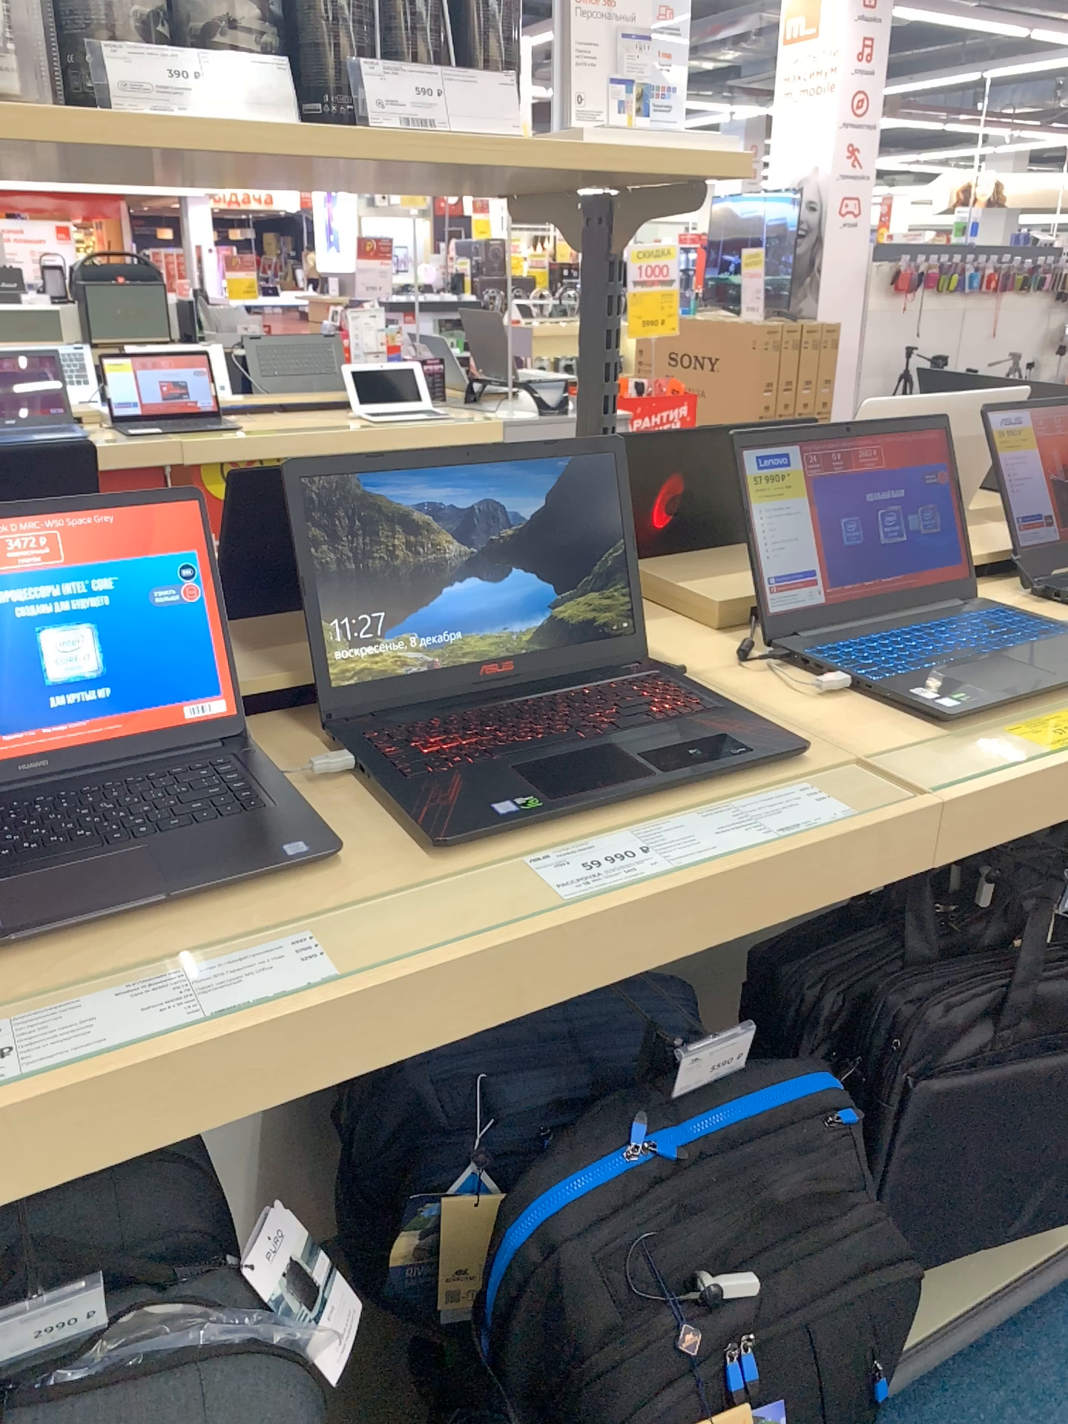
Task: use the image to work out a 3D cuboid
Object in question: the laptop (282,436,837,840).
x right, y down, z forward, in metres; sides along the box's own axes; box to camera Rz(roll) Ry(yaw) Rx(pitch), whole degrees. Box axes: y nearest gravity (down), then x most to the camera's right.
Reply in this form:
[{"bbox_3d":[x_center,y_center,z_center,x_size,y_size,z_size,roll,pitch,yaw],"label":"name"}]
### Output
[{"bbox_3d":[0.010,-0.098,0.979,0.366,0.230,0.318,-11,25,-28],"label":"laptop"}]
